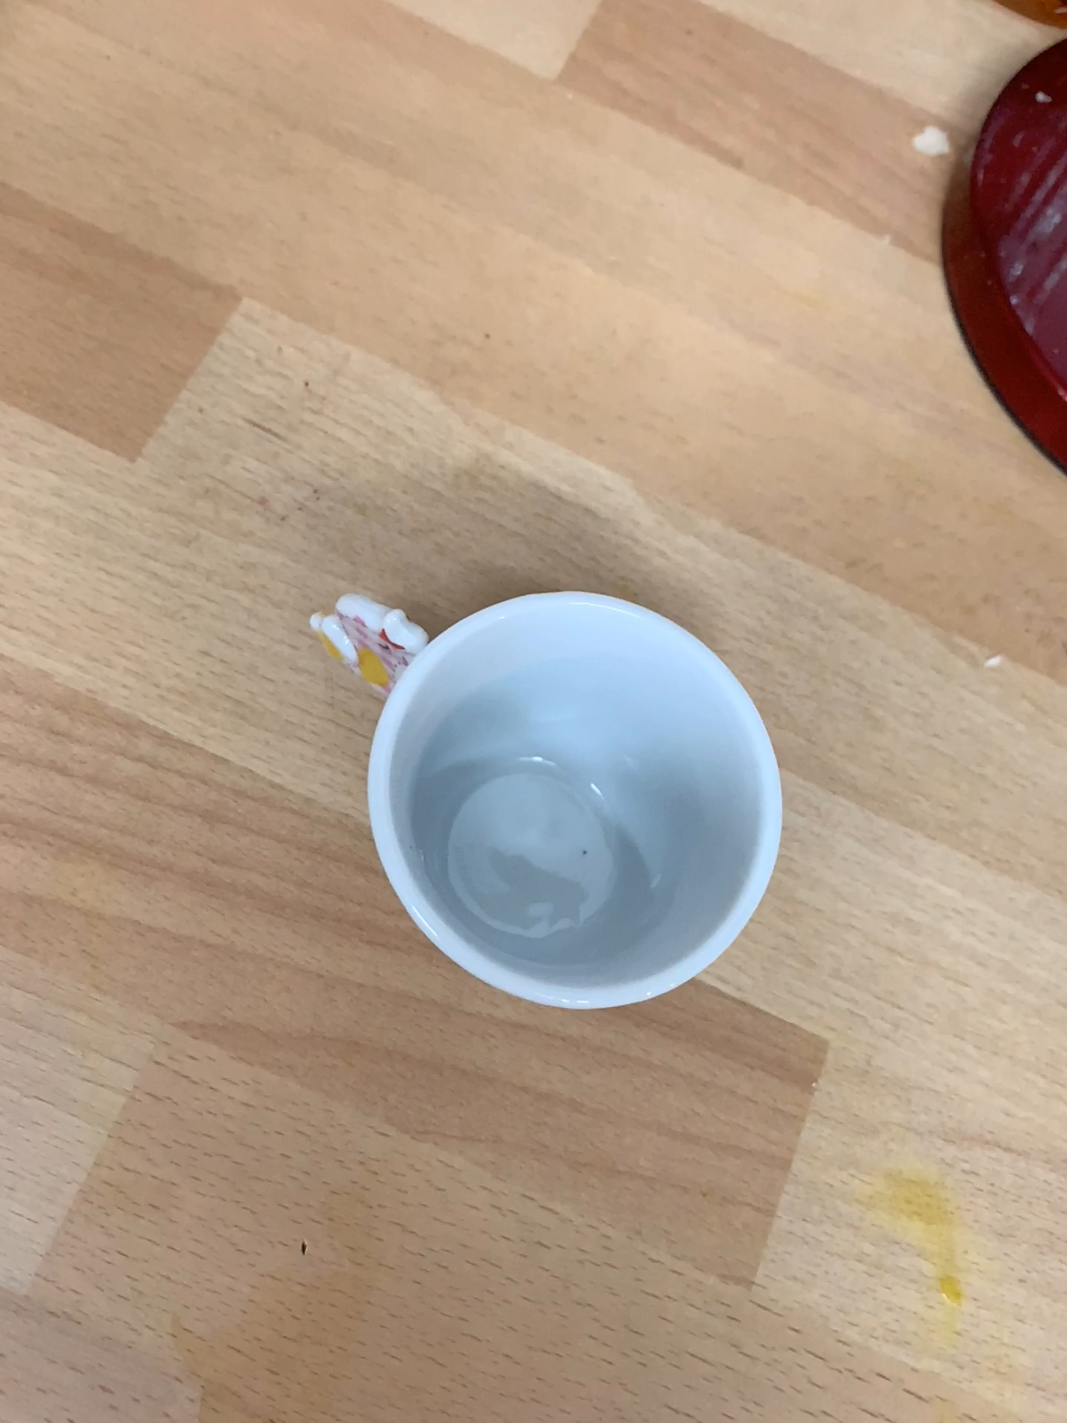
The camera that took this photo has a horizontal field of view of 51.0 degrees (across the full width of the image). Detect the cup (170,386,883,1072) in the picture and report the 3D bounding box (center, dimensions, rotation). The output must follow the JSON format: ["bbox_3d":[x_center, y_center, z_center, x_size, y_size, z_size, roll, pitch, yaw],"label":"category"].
[{"bbox_3d":[-0.003,0.006,0.178,0.080,0.050,0.060,41,71,5],"label":"cup"}]
